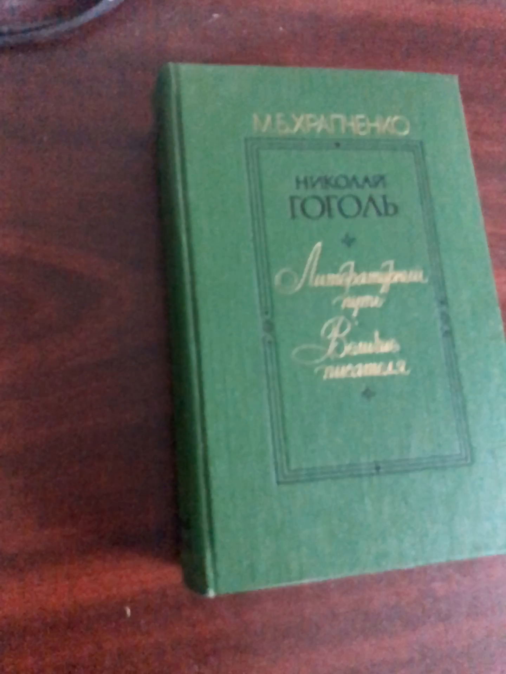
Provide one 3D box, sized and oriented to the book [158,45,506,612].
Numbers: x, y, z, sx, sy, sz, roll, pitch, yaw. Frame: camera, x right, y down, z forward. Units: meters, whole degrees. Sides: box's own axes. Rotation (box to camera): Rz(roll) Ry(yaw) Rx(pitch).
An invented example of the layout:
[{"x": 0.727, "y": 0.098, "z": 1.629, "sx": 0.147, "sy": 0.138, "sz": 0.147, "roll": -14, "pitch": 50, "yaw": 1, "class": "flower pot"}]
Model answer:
[{"x": 0.033, "y": -0.012, "z": 0.233, "sx": 0.129, "sy": 0.050, "sz": 0.206, "roll": -4, "pitch": 78, "yaw": -11, "class": "book"}]
